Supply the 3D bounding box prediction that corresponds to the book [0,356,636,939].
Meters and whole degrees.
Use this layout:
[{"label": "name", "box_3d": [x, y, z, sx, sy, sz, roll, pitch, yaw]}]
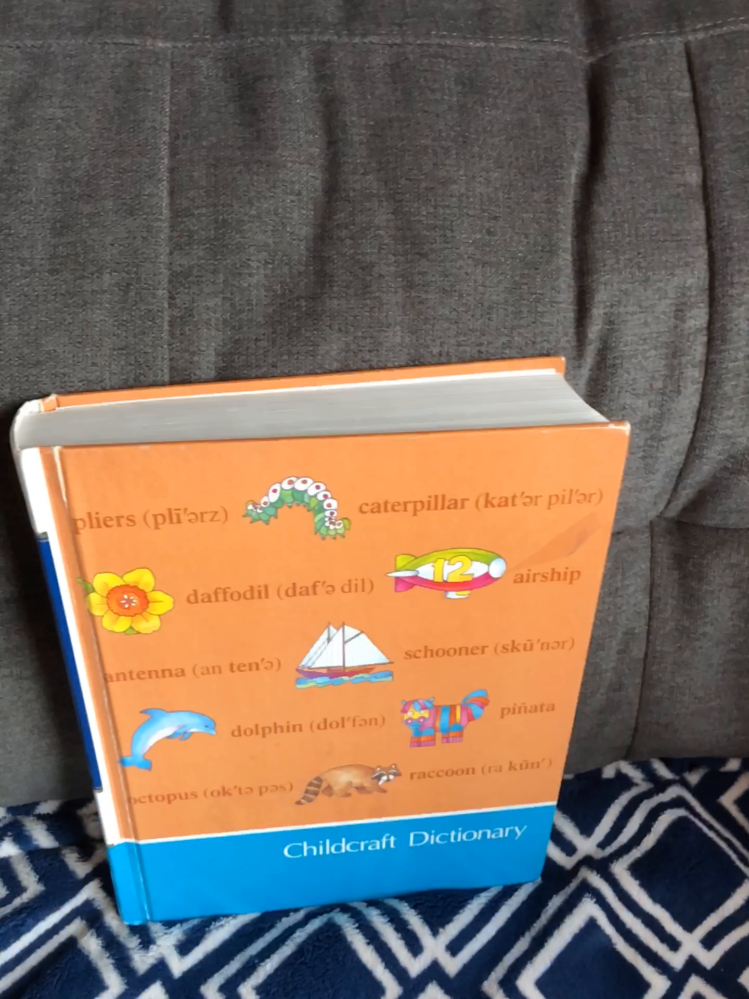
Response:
[{"label": "book", "box_3d": [-0.022, 0.075, 0.359, 0.210, 0.260, 0.055, -3, 32, -7]}]
